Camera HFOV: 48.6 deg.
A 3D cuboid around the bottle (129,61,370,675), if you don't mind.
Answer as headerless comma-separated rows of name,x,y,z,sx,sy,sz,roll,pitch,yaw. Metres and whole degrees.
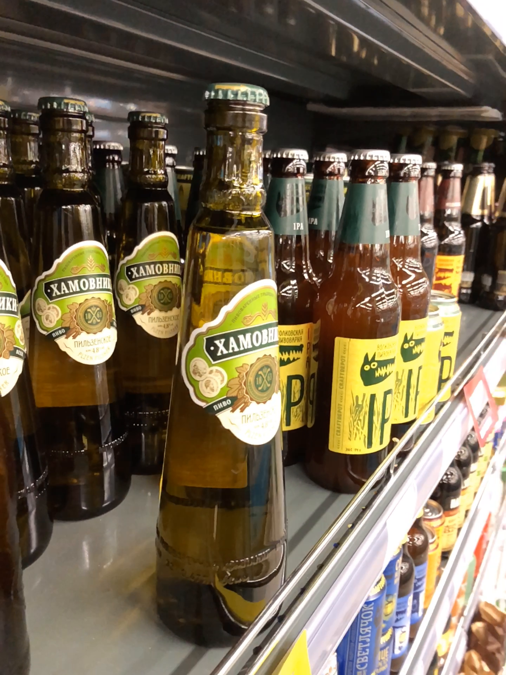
bottle,-0.007,0.020,0.267,0.070,0.261,0.070,3,16,-1
